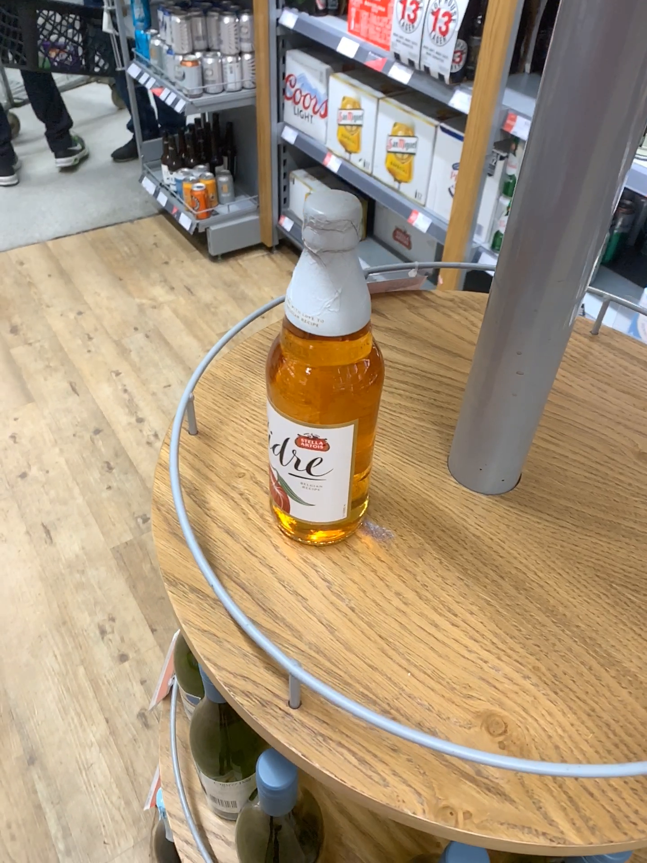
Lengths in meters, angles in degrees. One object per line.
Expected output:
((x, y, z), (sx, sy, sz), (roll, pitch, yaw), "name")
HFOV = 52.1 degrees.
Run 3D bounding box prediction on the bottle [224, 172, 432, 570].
((-0.002, -0.023, 0.384), (0.070, 0.218, 0.070), (1, 44, -1), "bottle")
